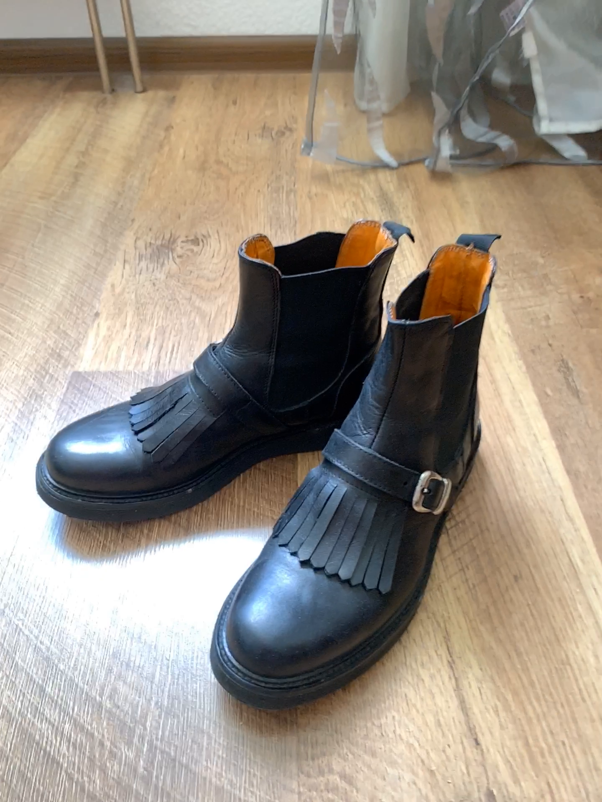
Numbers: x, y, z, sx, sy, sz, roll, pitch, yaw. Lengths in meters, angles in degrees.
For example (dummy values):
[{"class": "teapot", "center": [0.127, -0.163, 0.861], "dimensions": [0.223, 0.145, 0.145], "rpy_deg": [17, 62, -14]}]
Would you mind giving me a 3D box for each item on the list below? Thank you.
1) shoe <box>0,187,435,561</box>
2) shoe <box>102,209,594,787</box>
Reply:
[{"class": "shoe", "center": [-0.059, -0.022, 0.402], "dimensions": [0.260, 0.151, 0.090], "rpy_deg": [-19, 48, -17]}, {"class": "shoe", "center": [0.044, 0.032, 0.333], "dimensions": [0.100, 0.149, 0.261], "rpy_deg": [26, 51, 24]}]
